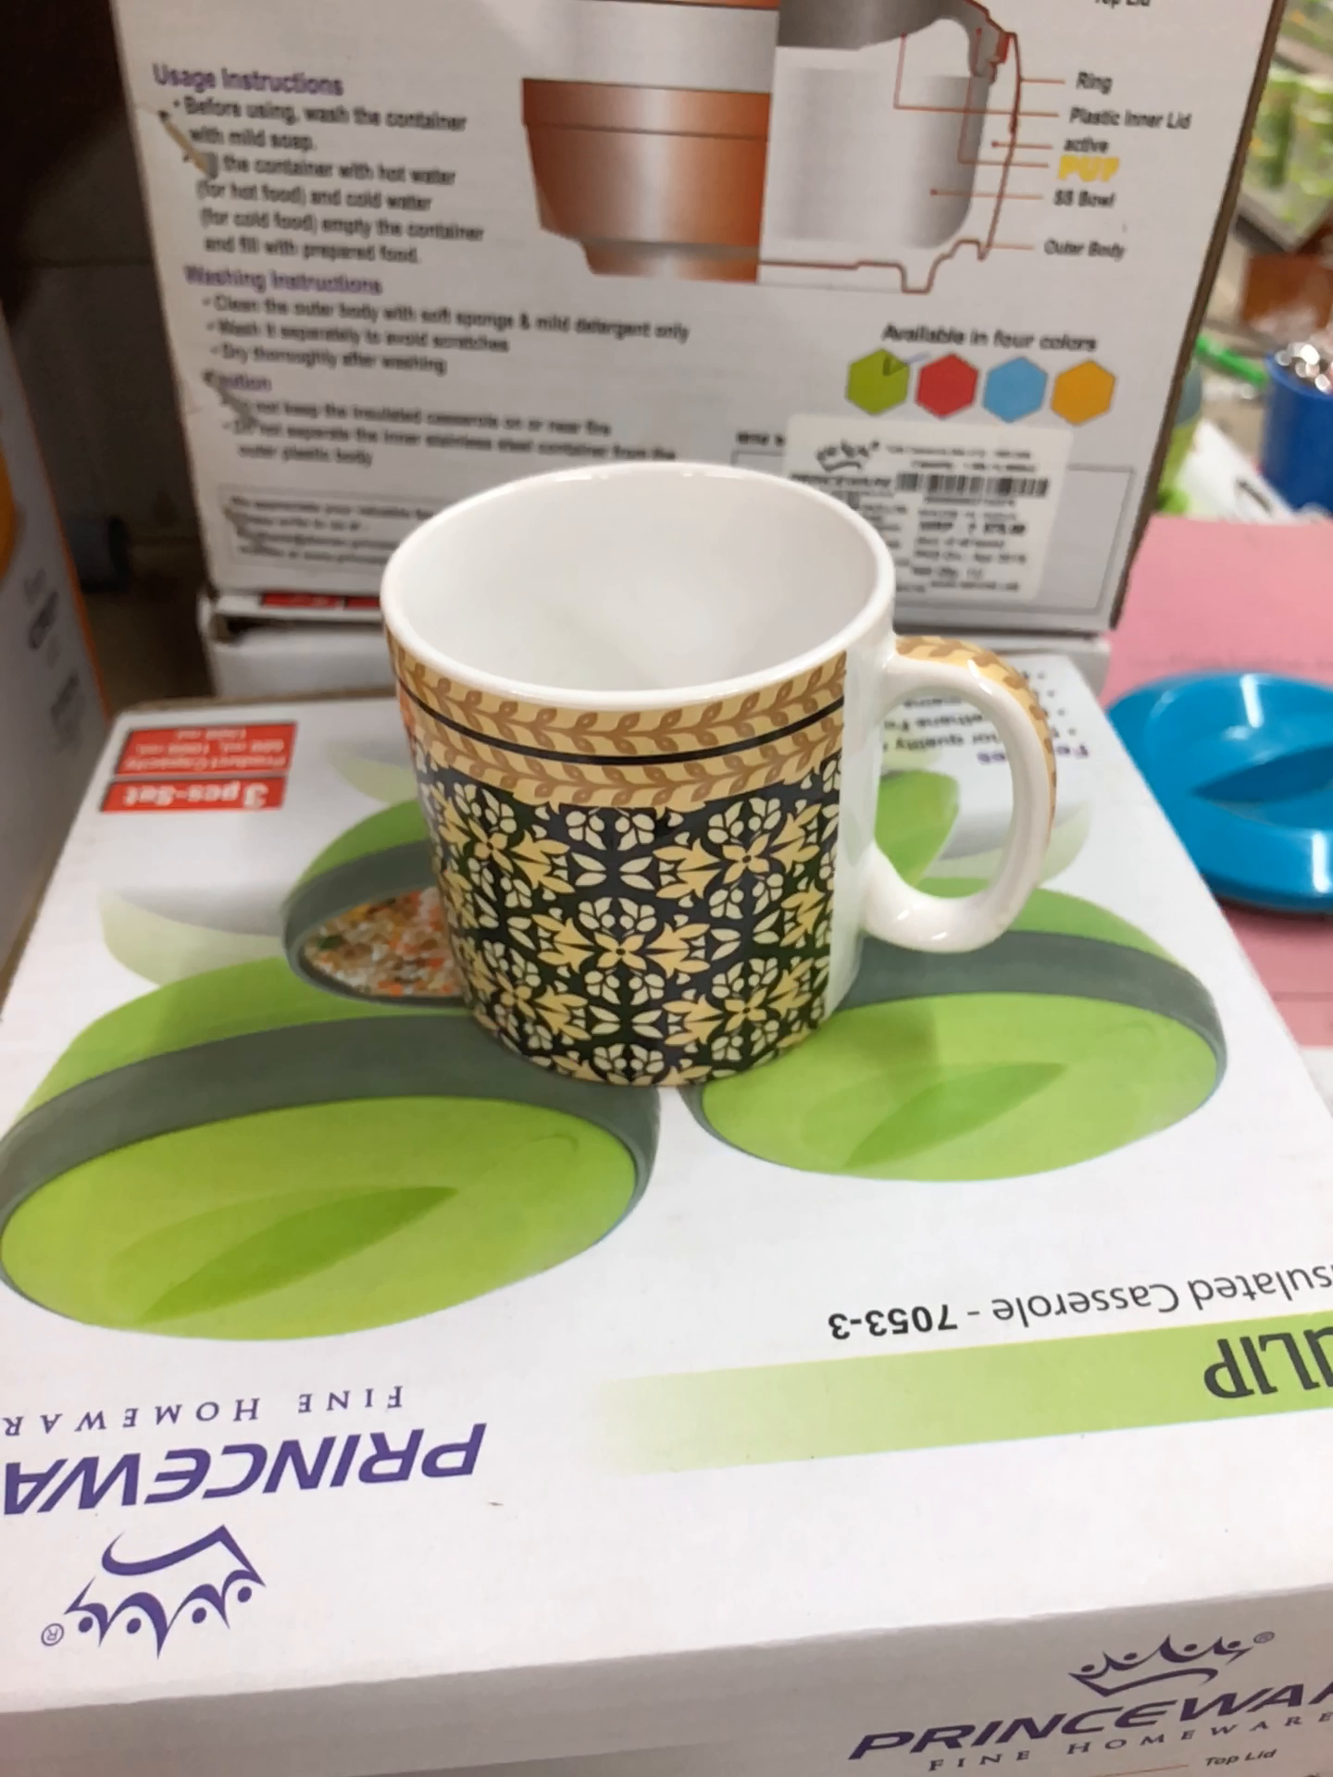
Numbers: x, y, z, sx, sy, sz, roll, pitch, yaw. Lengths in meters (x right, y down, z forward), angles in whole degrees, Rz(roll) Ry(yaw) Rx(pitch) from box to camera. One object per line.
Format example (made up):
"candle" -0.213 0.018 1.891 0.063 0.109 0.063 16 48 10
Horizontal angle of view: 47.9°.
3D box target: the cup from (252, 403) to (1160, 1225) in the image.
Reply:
"cup" 0.011 -0.015 0.232 0.110 0.089 0.071 8 38 14
